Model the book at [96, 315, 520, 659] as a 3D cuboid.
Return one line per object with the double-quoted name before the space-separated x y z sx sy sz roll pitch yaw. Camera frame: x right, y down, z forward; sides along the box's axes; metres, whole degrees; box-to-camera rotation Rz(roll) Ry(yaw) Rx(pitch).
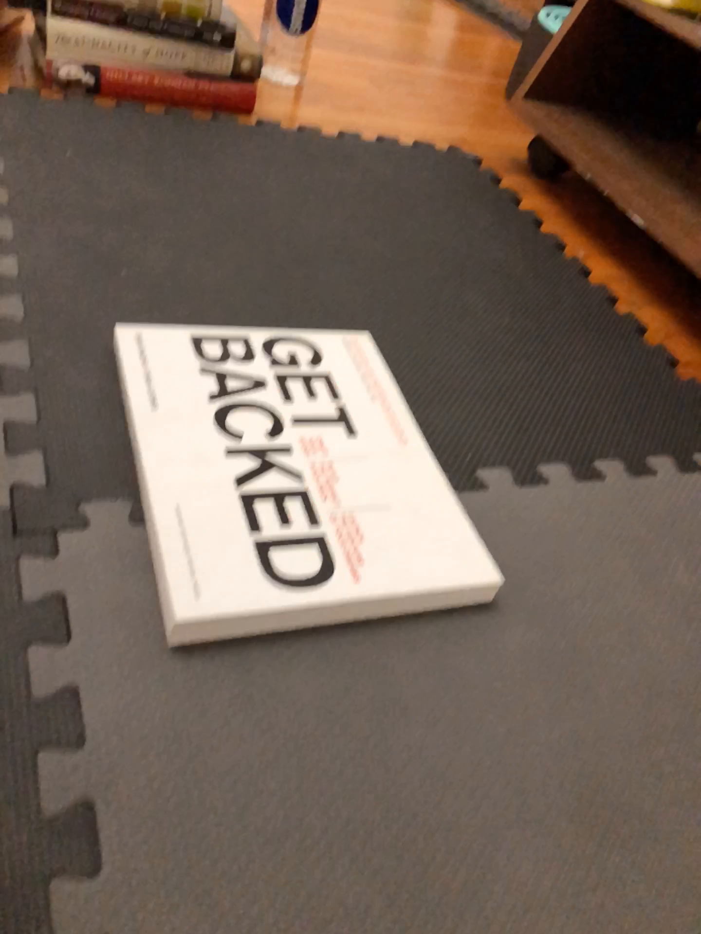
"book" -0.041 -0.011 0.496 0.210 0.020 0.261 -3 46 -23
